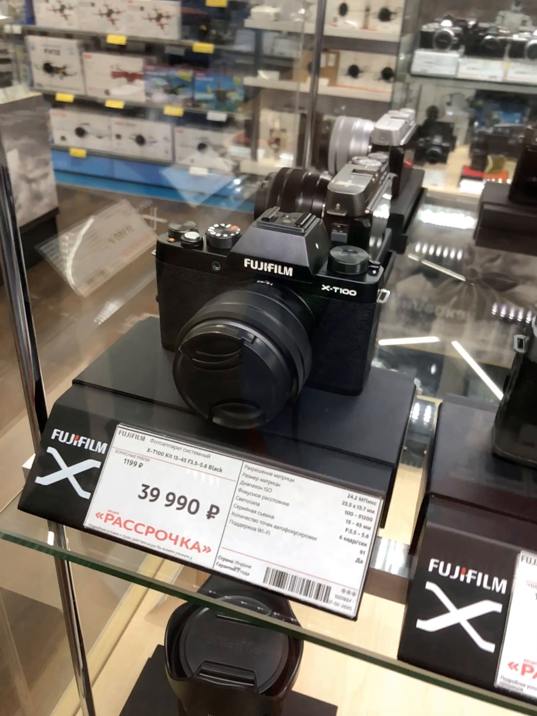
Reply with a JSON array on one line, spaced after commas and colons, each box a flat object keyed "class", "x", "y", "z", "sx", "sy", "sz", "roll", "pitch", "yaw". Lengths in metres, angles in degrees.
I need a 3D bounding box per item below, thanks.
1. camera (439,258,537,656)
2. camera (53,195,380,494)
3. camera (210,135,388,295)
[{"class": "camera", "x": 0.140, "y": 0.026, "z": 0.229, "sx": 0.120, "sy": 0.078, "sz": 0.099, "roll": 13, "pitch": 34, "yaw": 15}, {"class": "camera", "x": -0.020, "y": -0.014, "z": 0.296, "sx": 0.120, "sy": 0.089, "sz": 0.096, "roll": 14, "pitch": 34, "yaw": 16}, {"class": "camera", "x": 0.026, "y": -0.112, "z": 0.441, "sx": 0.100, "sy": 0.069, "sz": 0.121, "roll": 12, "pitch": 33, "yaw": 13}]
